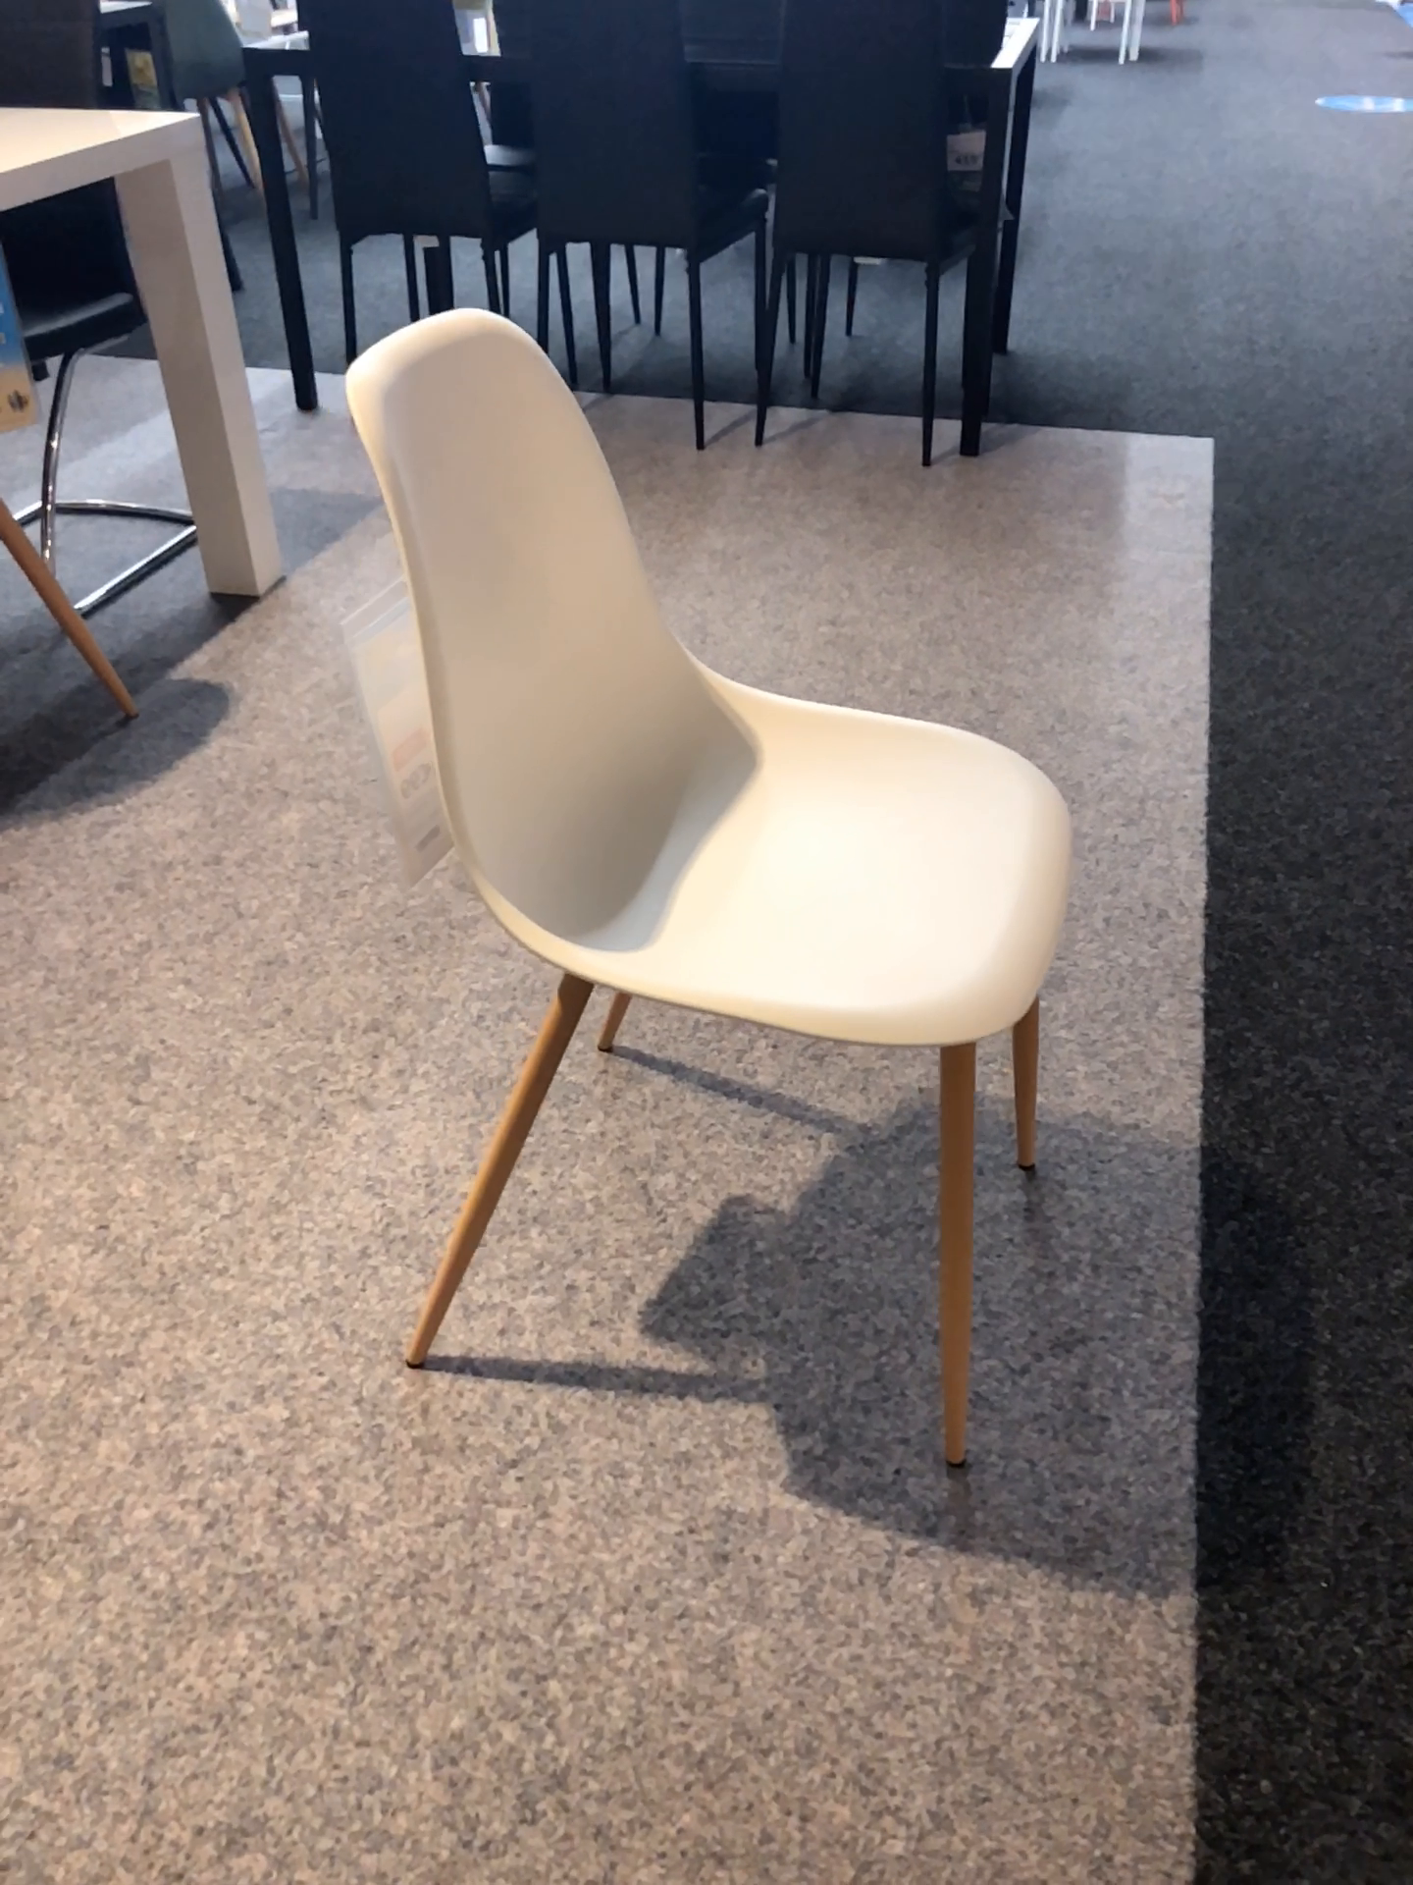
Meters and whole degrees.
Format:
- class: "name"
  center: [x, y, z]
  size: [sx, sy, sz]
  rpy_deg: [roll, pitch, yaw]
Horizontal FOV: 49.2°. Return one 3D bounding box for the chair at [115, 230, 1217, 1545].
- class: "chair"
  center: [0.027, -0.072, 1.303]
  size: [0.599, 0.845, 0.574]
  rpy_deg: [11, 36, 15]
